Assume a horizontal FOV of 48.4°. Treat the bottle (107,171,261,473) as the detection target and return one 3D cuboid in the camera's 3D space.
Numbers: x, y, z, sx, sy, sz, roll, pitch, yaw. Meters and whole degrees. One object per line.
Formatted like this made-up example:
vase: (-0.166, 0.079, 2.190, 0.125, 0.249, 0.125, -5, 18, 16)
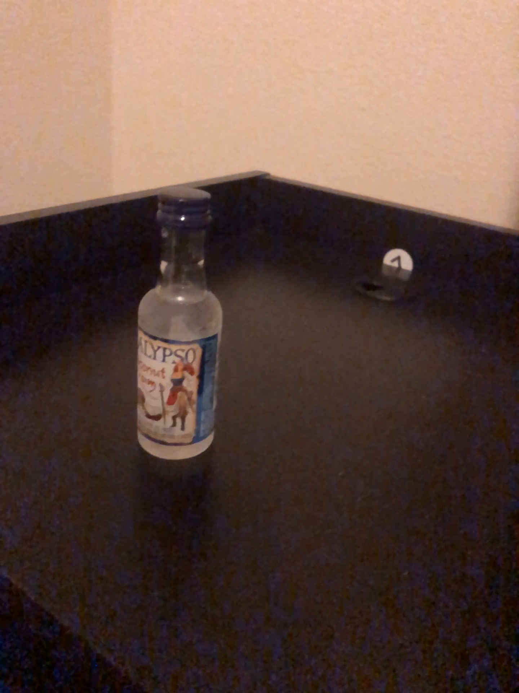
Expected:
bottle: (-0.031, -0.010, 0.224, 0.040, 0.104, 0.036, 18, 27, 25)
